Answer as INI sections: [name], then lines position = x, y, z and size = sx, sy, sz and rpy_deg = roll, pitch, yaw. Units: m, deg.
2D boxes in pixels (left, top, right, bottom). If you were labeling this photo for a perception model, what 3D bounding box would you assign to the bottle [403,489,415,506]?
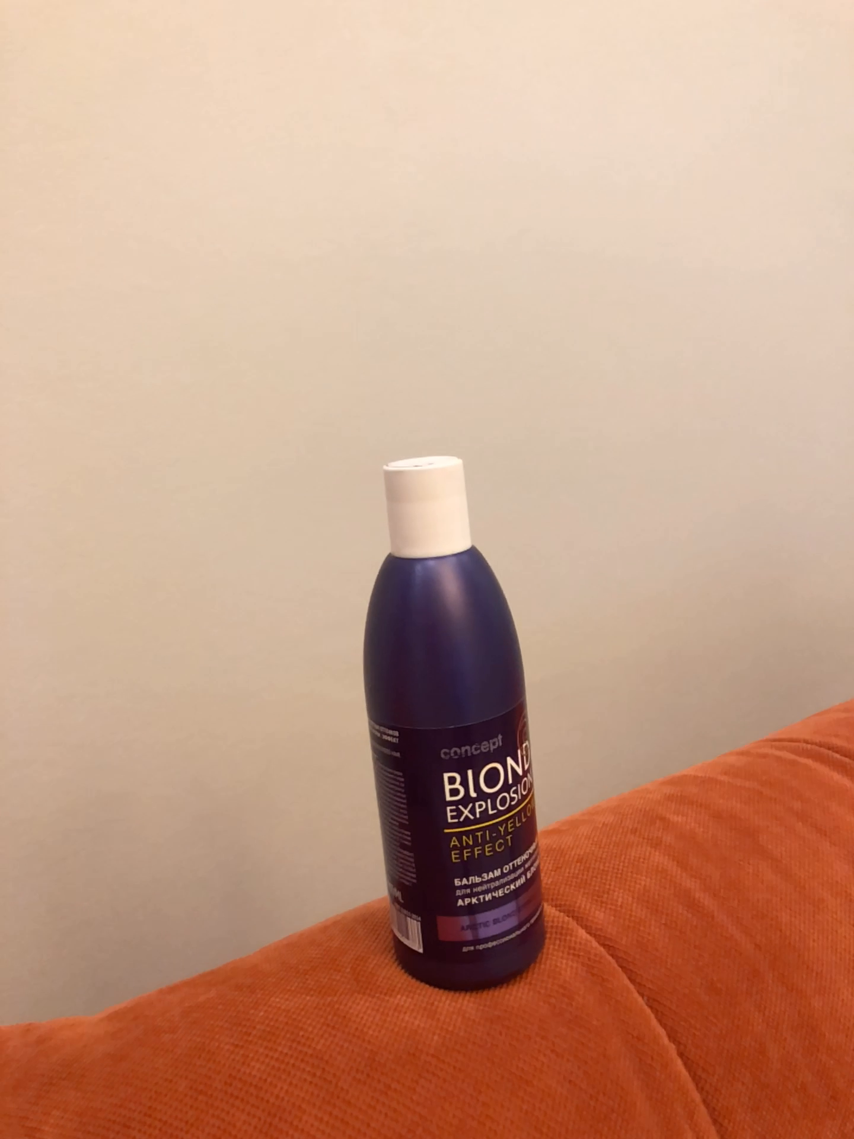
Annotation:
[bottle]
position = -0.116, -0.459, 5.983
size = 0.055, 0.092, 0.055
rpy_deg = 0, 14, 0
